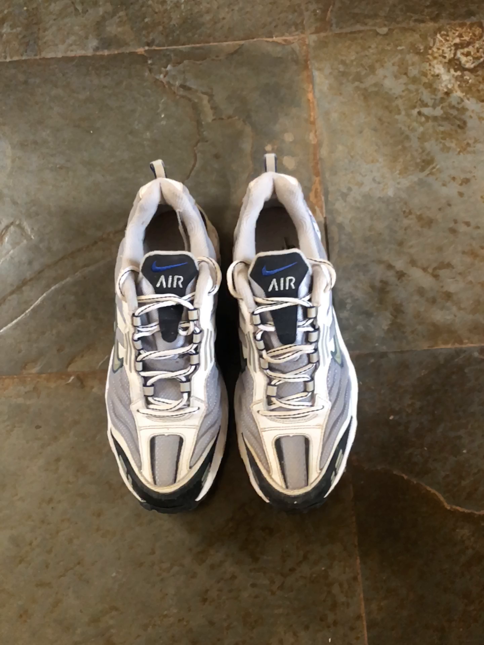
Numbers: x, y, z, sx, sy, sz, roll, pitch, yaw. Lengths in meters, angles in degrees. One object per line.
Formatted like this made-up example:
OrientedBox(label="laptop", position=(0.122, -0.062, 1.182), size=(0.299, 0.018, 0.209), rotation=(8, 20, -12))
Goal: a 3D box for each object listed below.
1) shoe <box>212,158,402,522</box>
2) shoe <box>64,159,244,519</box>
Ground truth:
OrientedBox(label="shoe", position=(0.042, 0.016, 0.432), size=(0.110, 0.110, 0.261), rotation=(-4, 72, 2))
OrientedBox(label="shoe", position=(-0.064, 0.017, 0.441), size=(0.110, 0.120, 0.261), rotation=(-4, 72, 2))
